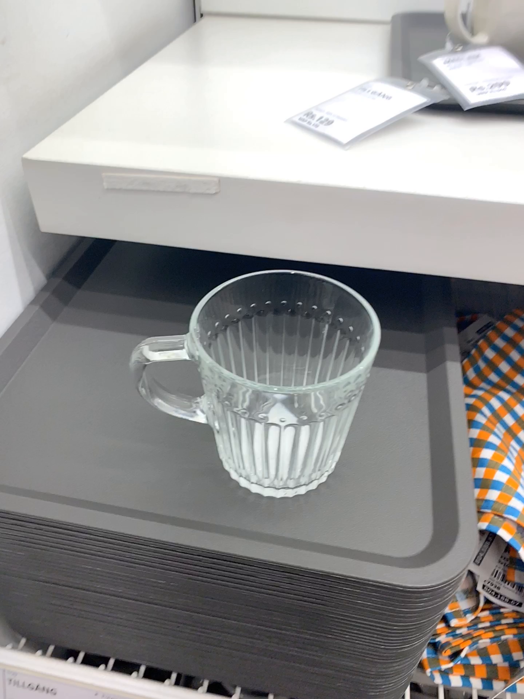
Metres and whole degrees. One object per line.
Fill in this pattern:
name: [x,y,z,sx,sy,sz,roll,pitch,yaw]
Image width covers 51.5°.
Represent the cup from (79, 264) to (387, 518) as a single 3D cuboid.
cup: [-0.010,0.018,0.250,0.110,0.080,0.080,2,41,1]
